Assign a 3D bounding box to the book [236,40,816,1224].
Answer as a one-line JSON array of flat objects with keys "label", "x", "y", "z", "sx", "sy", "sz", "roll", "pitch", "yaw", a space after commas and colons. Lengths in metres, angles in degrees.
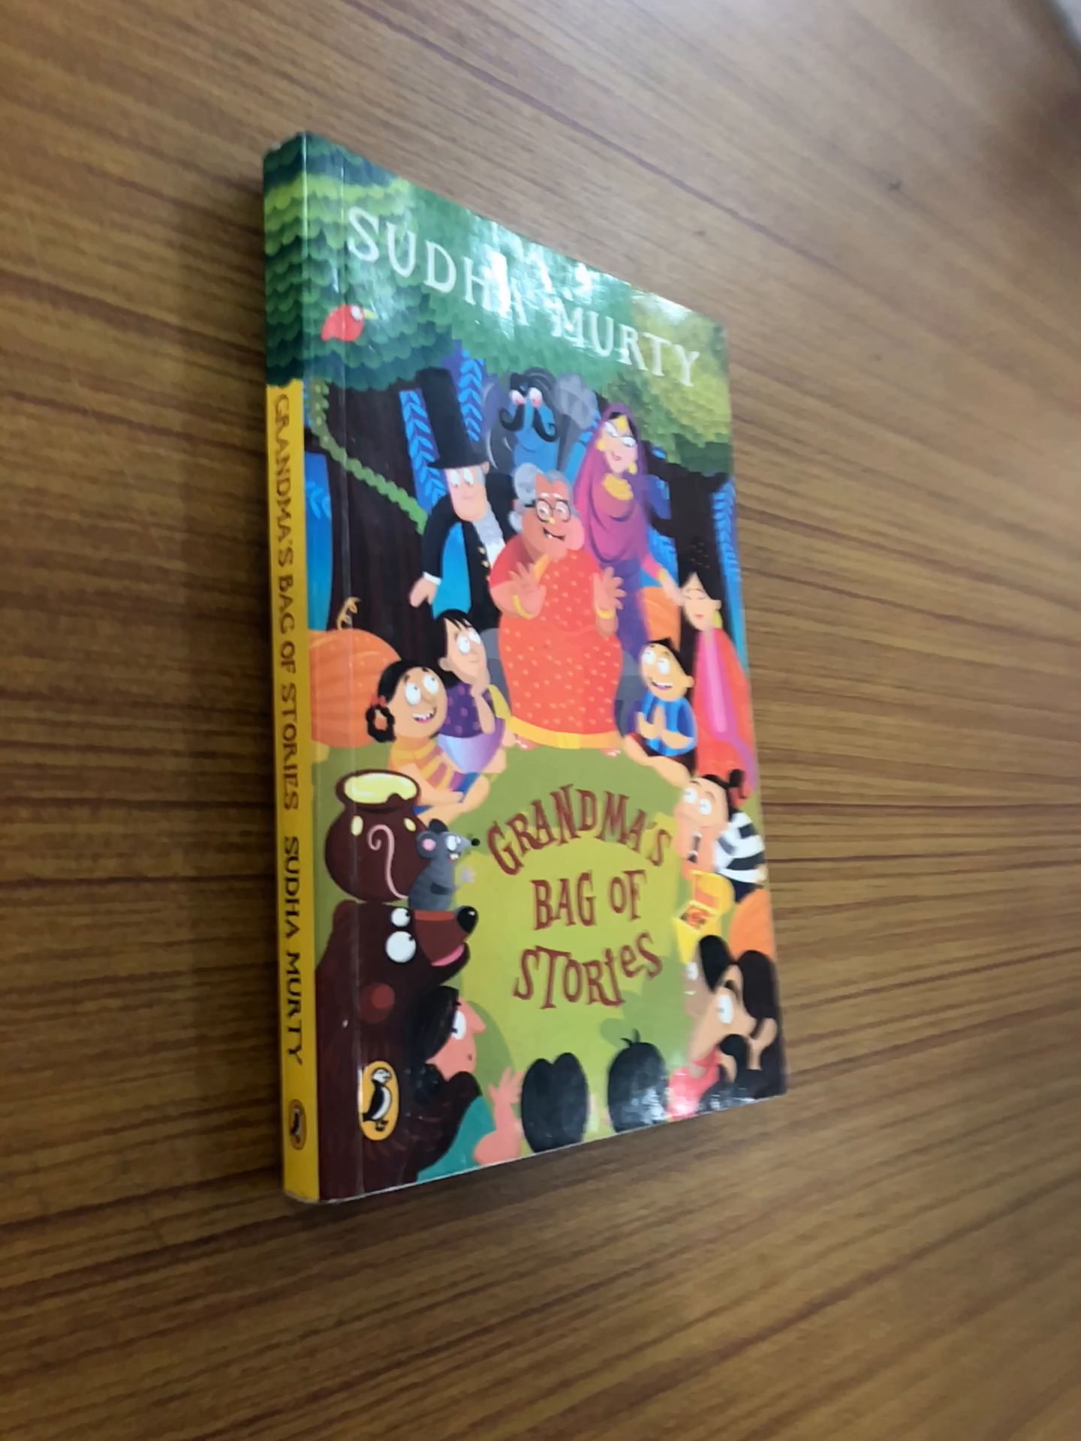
[{"label": "book", "x": 0.002, "y": -0.017, "z": 0.265, "sx": 0.131, "sy": 0.030, "sz": 0.210, "roll": 4, "pitch": 80, "yaw": -43}]
